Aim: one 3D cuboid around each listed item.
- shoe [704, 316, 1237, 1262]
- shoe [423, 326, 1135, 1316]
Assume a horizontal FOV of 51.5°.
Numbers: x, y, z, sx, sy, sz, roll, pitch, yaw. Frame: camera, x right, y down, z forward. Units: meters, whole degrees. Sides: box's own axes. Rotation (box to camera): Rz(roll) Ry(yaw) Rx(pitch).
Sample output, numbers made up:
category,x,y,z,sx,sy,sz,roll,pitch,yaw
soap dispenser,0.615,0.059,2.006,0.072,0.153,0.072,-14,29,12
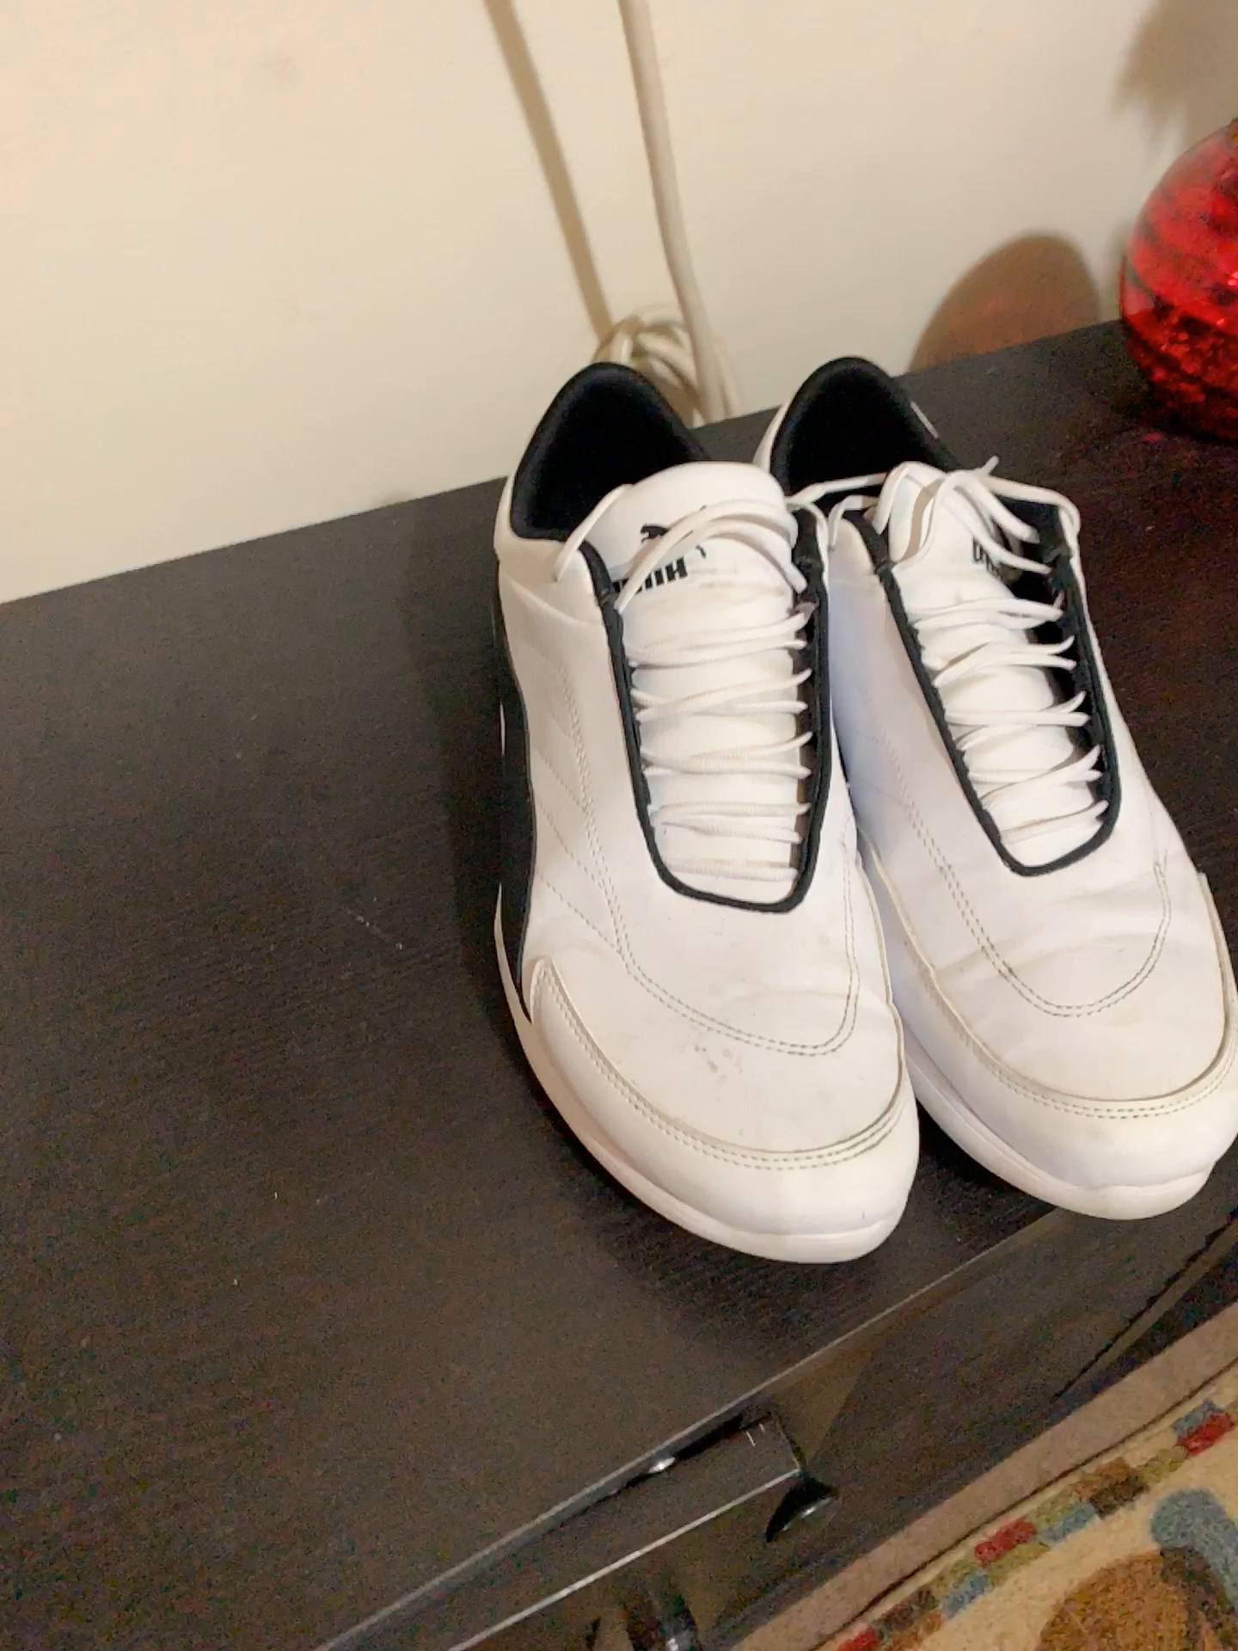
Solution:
category,x,y,z,sx,sy,sz,roll,pitch,yaw
shoe,0.112,-0.034,0.391,0.100,0.089,0.292,-5,52,-10
shoe,0.018,-0.025,0.370,0.120,0.089,0.282,-5,52,-10
